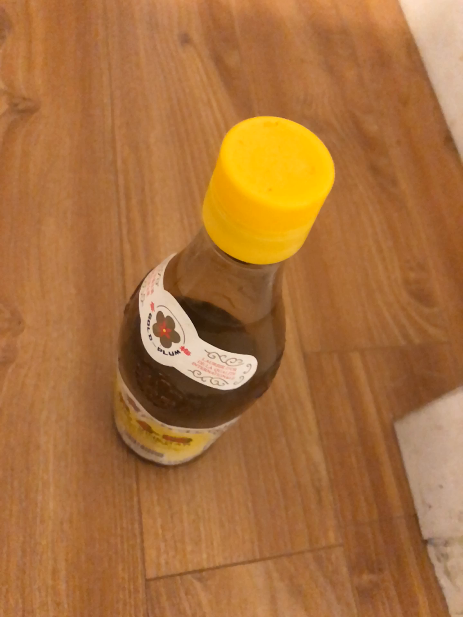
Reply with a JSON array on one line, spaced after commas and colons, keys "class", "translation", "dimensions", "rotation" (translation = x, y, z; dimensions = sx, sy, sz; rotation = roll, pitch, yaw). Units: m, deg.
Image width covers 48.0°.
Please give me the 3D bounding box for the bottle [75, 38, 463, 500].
[{"class": "bottle", "translation": [-0.012, 0.018, 0.221], "dimensions": [0.070, 0.229, 0.070], "rotation": [6, 64, -12]}]
